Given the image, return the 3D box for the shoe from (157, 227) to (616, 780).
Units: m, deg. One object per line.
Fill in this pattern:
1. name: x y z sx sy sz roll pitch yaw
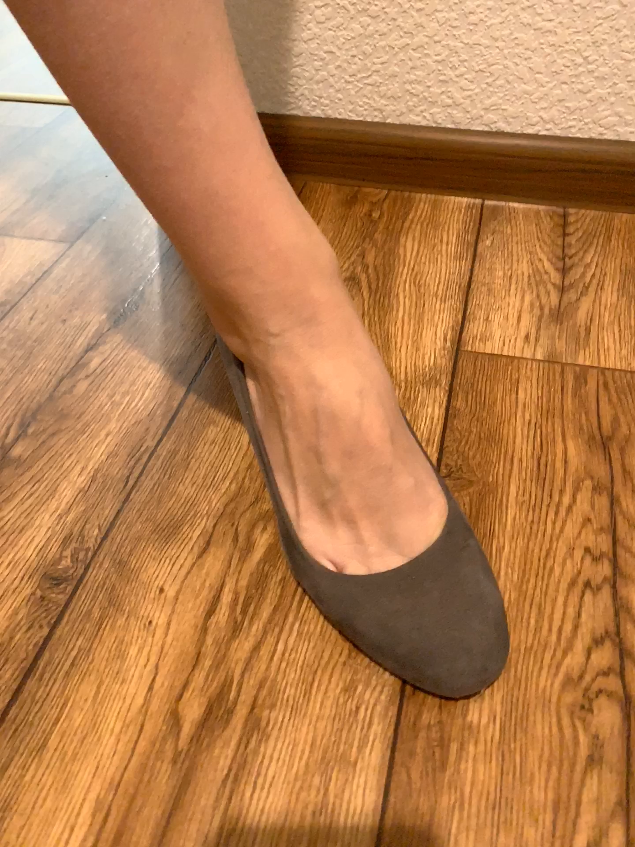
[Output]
1. shoe: 0.010 0.019 0.293 0.083 0.109 0.211 -22 48 -15
